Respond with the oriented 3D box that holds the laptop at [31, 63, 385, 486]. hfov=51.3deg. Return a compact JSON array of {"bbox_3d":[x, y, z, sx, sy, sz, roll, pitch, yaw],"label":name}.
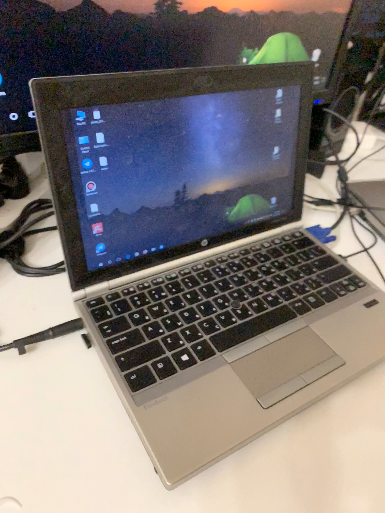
[{"bbox_3d":[0.056,-0.029,0.331,0.284,0.176,0.227,-17,45,-27],"label":"laptop"}]
